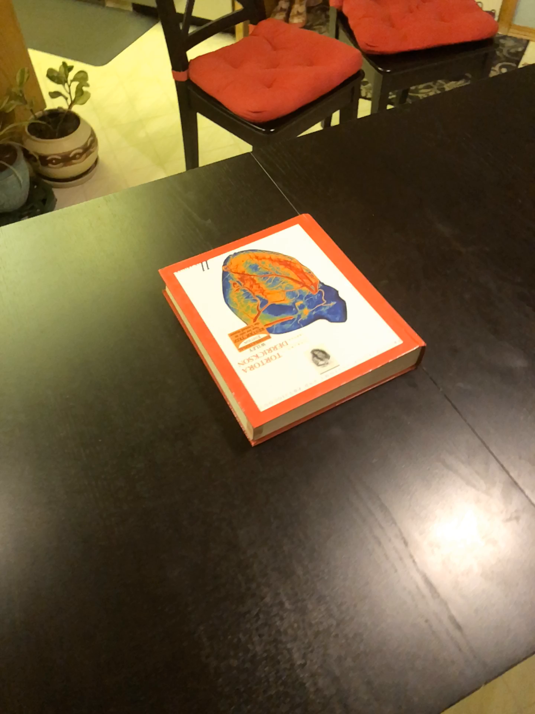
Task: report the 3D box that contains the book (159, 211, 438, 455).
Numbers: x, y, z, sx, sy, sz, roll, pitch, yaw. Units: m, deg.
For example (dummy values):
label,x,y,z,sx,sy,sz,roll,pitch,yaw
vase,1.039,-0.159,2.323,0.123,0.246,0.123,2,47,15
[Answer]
label,x,y,z,sx,sy,sz,roll,pitch,yaw
book,0.029,-0.051,0.784,0.250,0.050,0.291,-23,56,-15
